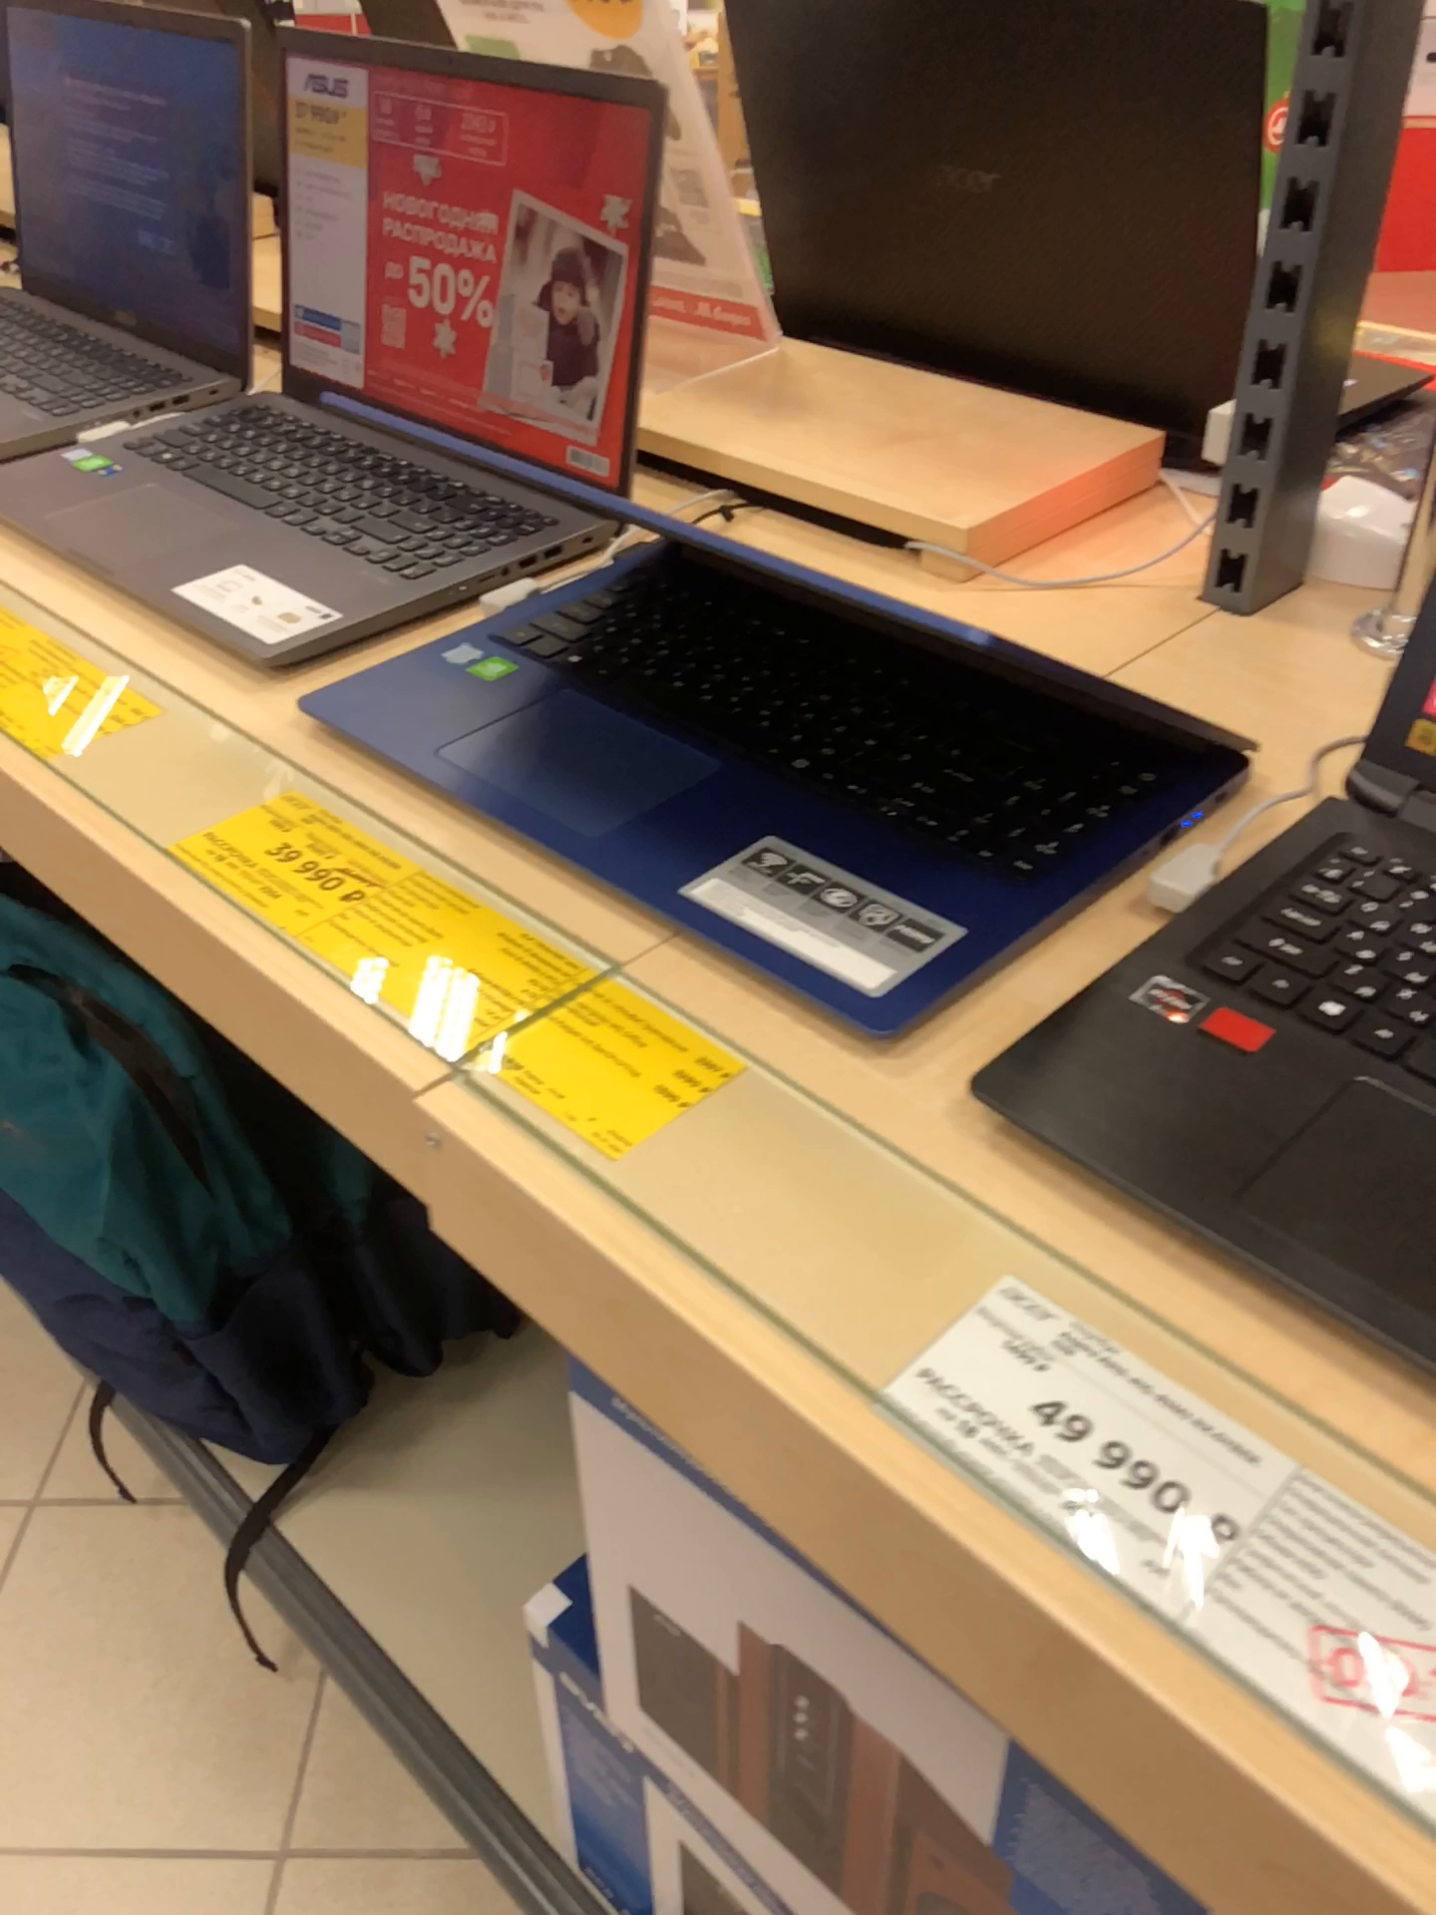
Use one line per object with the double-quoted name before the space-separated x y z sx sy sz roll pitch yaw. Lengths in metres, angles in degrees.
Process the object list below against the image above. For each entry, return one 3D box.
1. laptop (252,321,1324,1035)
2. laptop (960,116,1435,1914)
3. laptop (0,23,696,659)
"laptop" 0.014 -0.152 0.676 0.246 0.126 0.368 -31 44 -33
"laptop" 0.331 -0.060 0.426 0.354 0.226 0.358 -30 43 -31
"laptop" -0.263 -0.389 0.929 0.303 0.206 0.391 -33 47 -31
